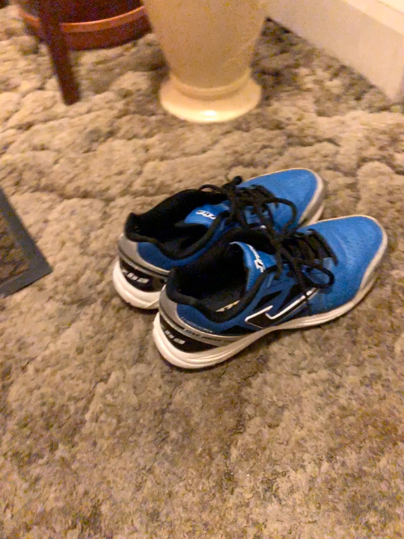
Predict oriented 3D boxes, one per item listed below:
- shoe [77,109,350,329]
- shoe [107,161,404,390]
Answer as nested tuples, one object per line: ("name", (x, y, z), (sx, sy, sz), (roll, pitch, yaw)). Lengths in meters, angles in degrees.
("shoe", (0.018, -0.061, 0.482), (0.271, 0.119, 0.101), (-27, 58, -14))
("shoe", (0.059, 0.004, 0.454), (0.280, 0.119, 0.101), (-23, 57, -12))
